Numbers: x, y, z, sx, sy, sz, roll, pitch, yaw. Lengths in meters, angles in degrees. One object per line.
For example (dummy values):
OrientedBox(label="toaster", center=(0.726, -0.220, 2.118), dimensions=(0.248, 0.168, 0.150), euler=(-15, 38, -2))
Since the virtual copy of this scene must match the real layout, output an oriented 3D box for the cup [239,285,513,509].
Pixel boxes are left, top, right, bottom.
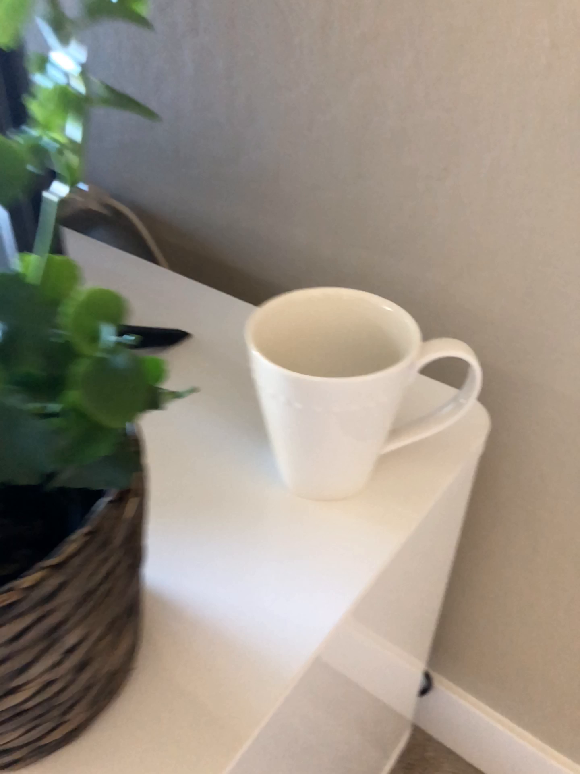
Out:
OrientedBox(label="cup", center=(0.040, 0.004, 0.371), dimensions=(0.130, 0.090, 0.090), euler=(1, 37, 0))
